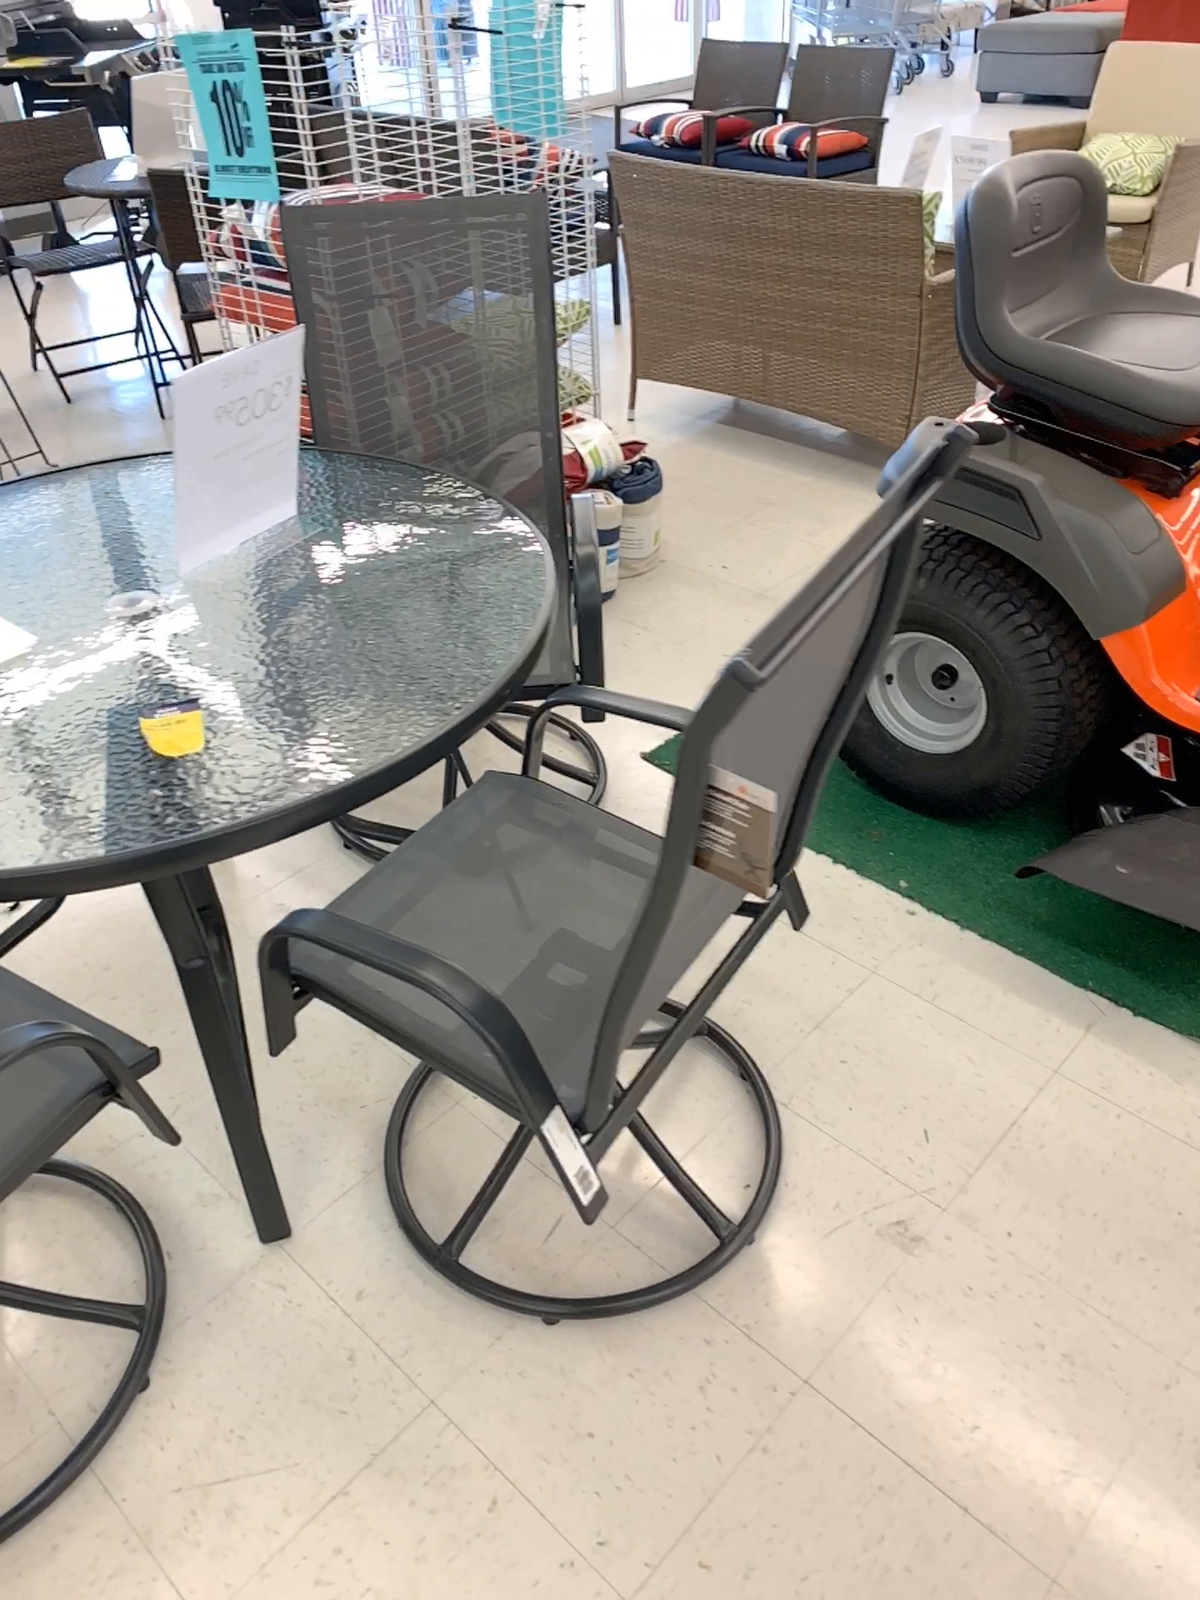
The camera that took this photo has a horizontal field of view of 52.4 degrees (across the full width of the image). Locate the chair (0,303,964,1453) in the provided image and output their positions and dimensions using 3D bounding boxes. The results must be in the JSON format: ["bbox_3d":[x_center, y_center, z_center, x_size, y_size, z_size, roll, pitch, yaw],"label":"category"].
[{"bbox_3d":[-0.067,0.066,1.351,0.641,0.975,0.582,17,41,25],"label":"chair"}]
